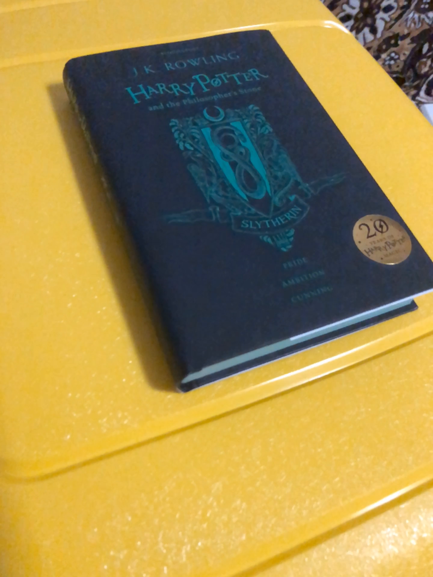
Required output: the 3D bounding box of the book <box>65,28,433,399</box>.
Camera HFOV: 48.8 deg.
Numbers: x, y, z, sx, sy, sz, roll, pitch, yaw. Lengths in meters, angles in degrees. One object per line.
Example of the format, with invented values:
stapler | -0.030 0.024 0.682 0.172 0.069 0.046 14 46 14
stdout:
book | 0.012 -0.061 0.263 0.137 0.030 0.205 -17 63 -16
